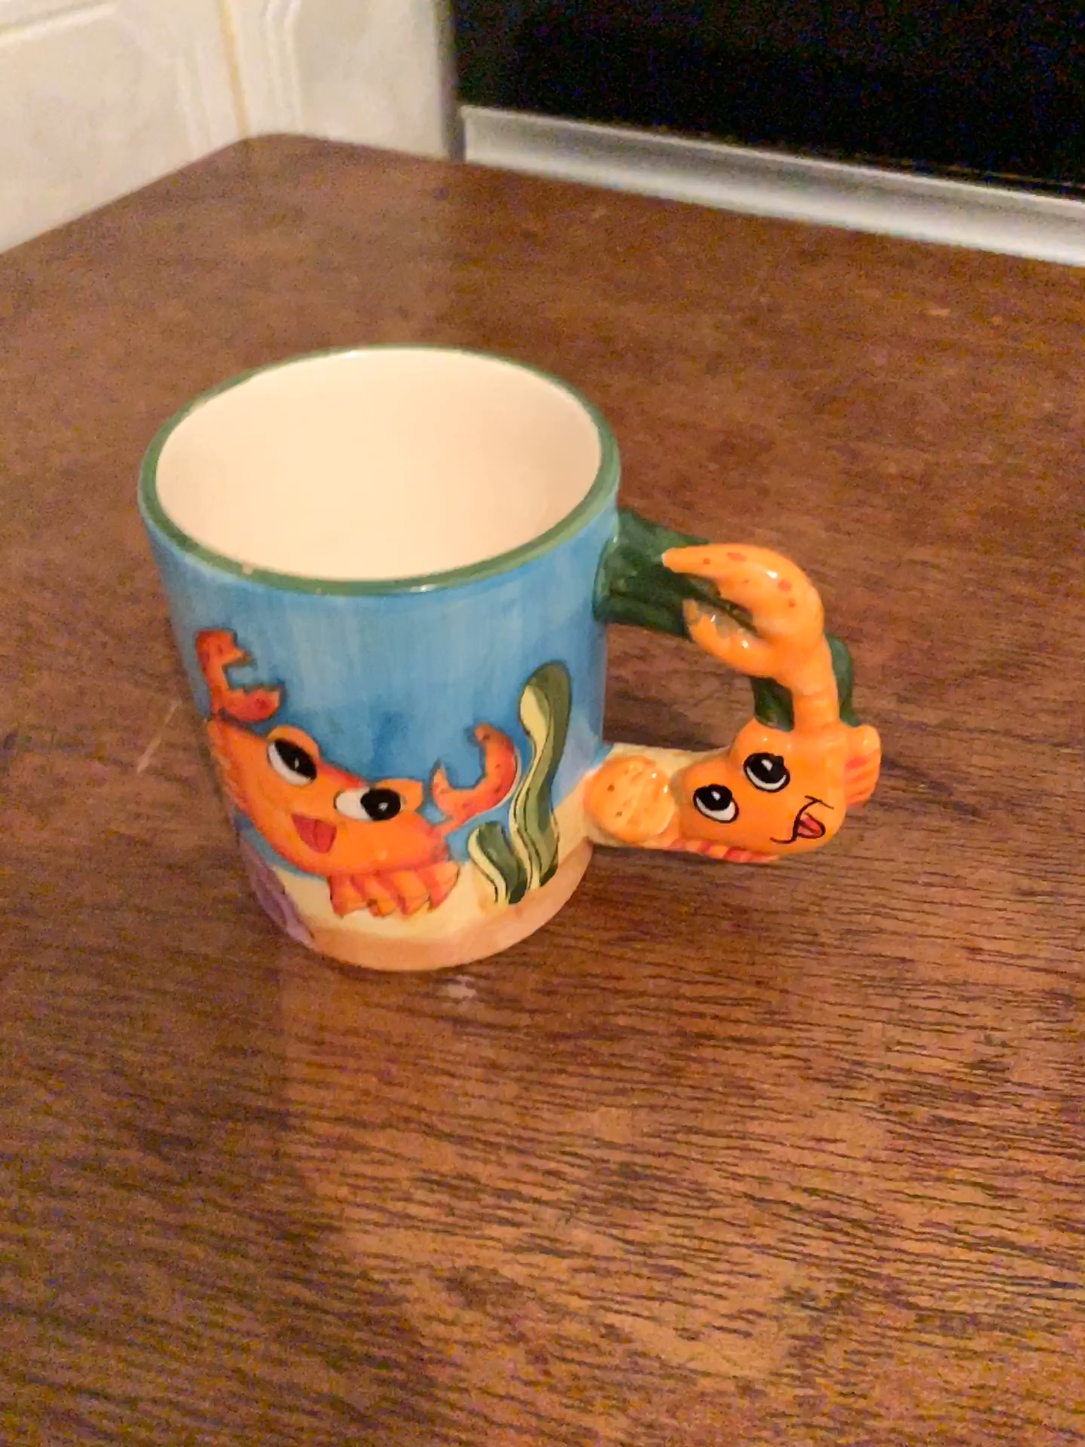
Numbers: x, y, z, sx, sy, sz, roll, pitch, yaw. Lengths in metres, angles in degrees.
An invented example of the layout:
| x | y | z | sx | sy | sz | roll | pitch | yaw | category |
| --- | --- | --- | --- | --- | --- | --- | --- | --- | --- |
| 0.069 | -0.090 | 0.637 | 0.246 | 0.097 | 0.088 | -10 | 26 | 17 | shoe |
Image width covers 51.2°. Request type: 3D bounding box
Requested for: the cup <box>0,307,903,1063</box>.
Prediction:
| x | y | z | sx | sy | sz | roll | pitch | yaw | category |
| --- | --- | --- | --- | --- | --- | --- | --- | --- | --- |
| -0.010 | -0.009 | 0.215 | 0.130 | 0.099 | 0.080 | 8 | 44 | 8 | cup |
